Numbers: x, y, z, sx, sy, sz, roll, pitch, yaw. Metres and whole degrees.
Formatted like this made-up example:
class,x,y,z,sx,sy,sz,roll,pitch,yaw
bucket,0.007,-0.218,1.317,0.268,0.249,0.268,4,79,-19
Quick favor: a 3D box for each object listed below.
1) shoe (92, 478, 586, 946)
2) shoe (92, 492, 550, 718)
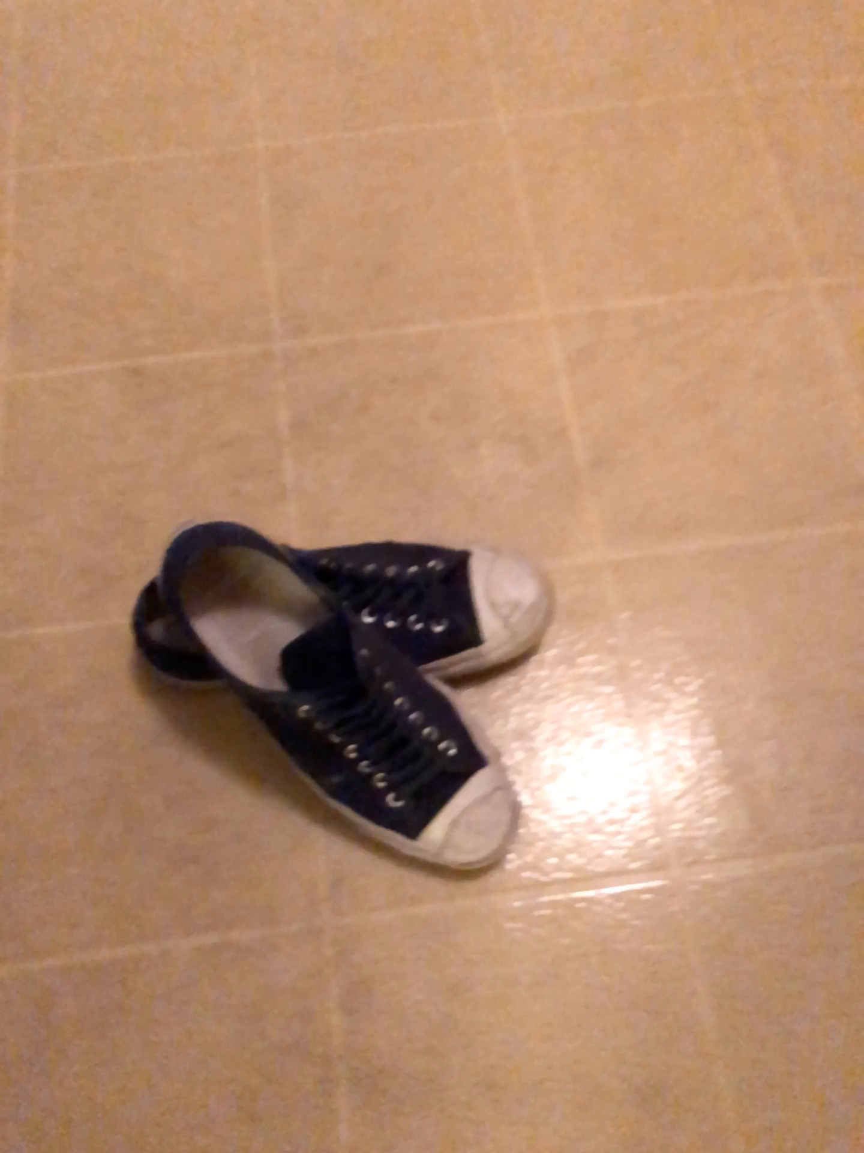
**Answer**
class,x,y,z,sx,sy,sz,roll,pitch,yaw
shoe,-0.052,0.077,0.596,0.290,0.100,0.100,44,91,-8
shoe,-0.077,0.019,0.671,0.290,0.080,0.110,-5,71,-10
